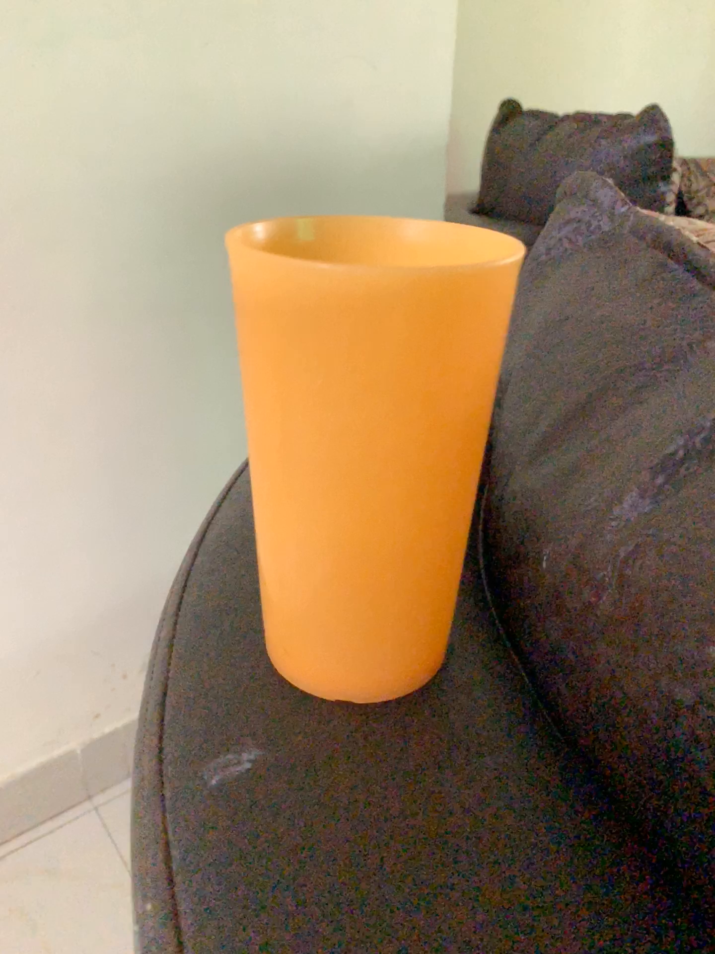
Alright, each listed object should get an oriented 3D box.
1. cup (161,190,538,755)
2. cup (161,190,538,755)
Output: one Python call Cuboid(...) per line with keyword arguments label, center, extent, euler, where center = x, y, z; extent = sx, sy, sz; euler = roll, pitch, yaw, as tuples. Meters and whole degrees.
Cuboid(label="cup", center=(0.003, -0.006, 0.206), extent=(0.070, 0.129, 0.070), euler=(0, 25, 0))
Cuboid(label="cup", center=(0.003, -0.006, 0.206), extent=(0.070, 0.129, 0.070), euler=(0, 25, 0))
